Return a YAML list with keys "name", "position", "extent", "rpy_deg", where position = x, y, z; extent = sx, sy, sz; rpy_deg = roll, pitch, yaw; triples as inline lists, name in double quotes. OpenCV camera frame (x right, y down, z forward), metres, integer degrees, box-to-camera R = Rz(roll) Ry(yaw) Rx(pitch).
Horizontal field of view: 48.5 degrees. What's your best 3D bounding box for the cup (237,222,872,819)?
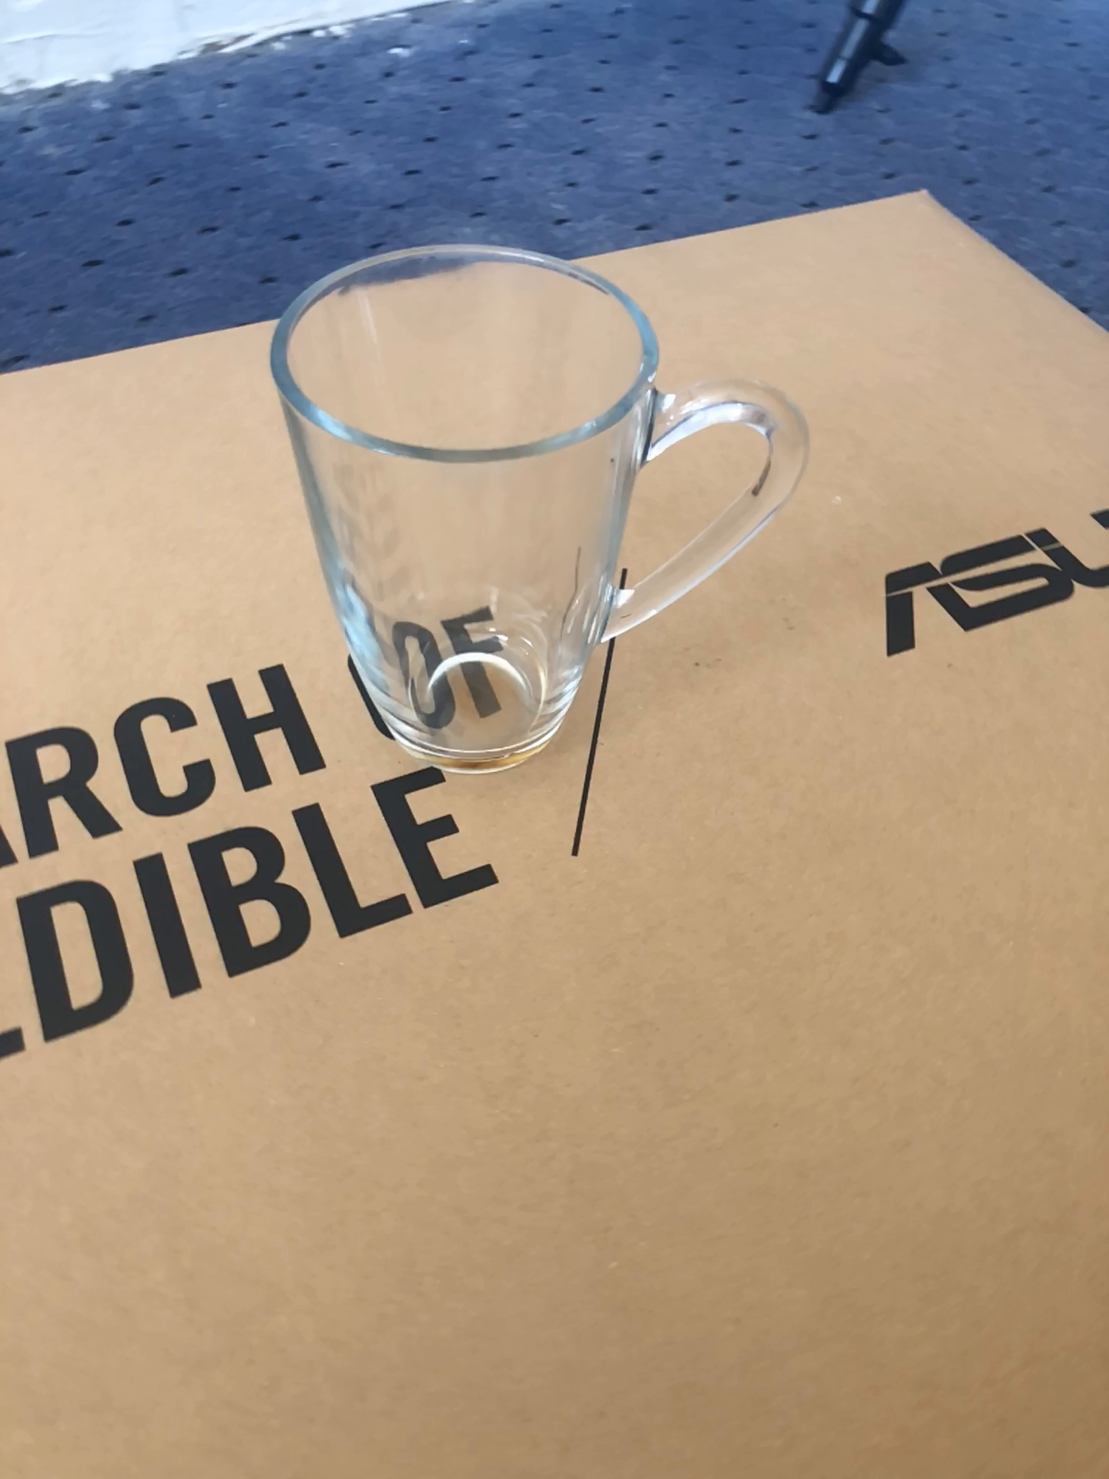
- name: "cup"
  position: [-0.006, -0.050, 0.278]
  extent: [0.110, 0.090, 0.080]
  rpy_deg: [-10, 49, -11]
